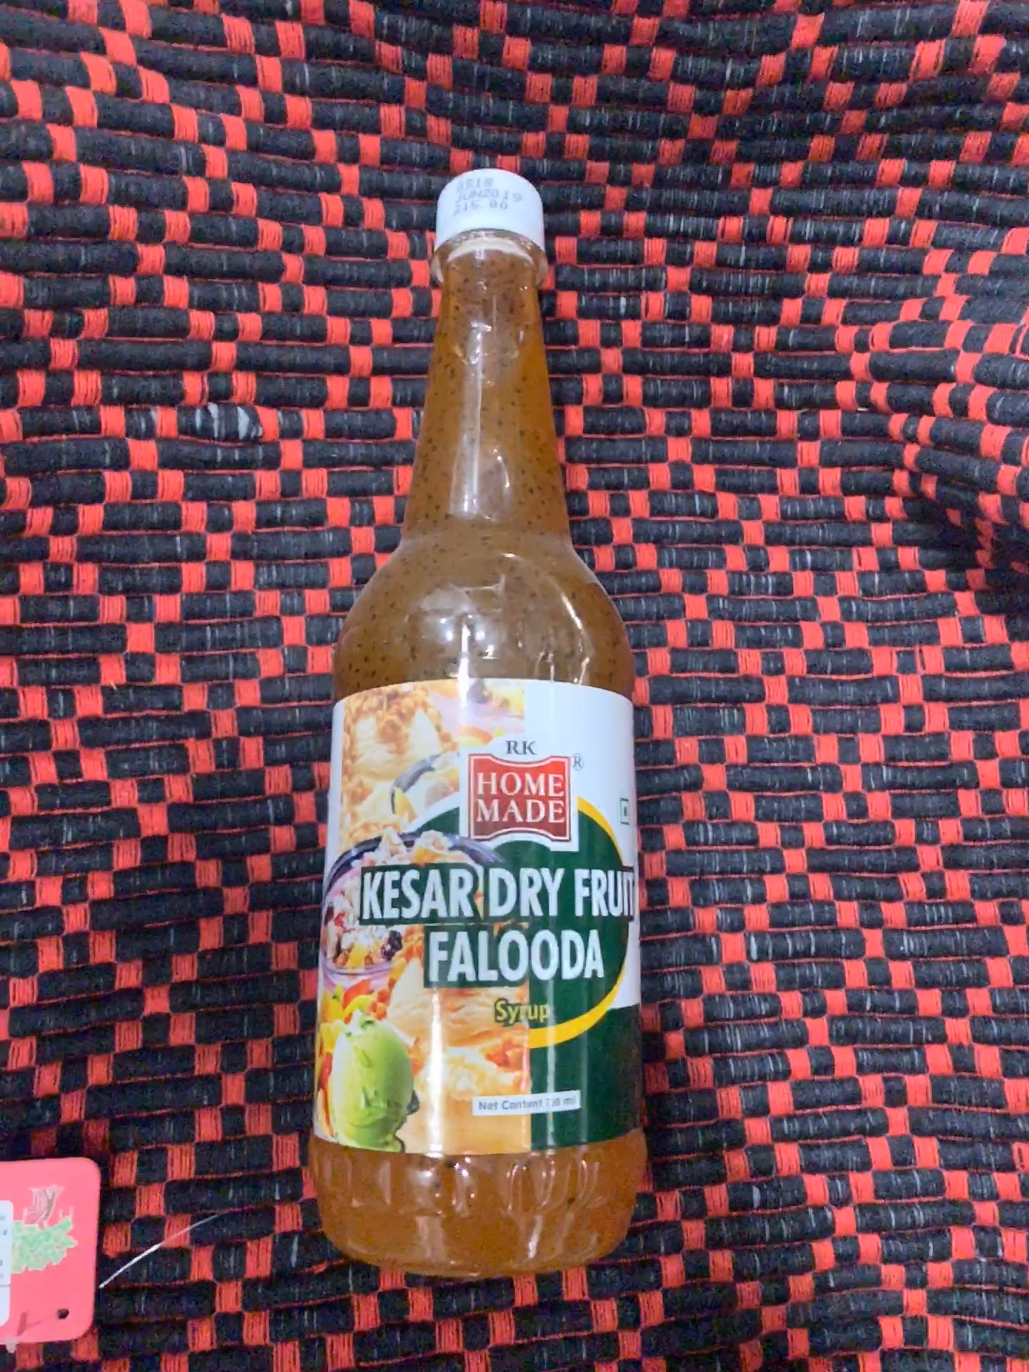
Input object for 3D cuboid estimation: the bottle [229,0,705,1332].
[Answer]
[{"bbox_3d":[-0.012,-0.014,0.239,0.080,0.070,0.260,1,78,-8],"label":"bottle"}]
